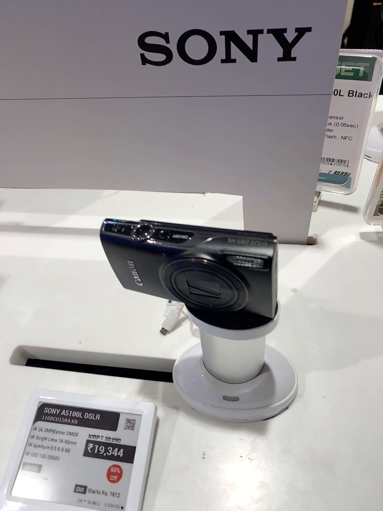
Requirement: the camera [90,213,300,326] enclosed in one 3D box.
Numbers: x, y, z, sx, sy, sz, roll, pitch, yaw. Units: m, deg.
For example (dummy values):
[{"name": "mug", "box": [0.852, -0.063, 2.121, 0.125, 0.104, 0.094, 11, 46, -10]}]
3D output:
[{"name": "camera", "box": [0.003, 0.008, 0.209, 0.100, 0.050, 0.020, 7, 51, 13]}]
